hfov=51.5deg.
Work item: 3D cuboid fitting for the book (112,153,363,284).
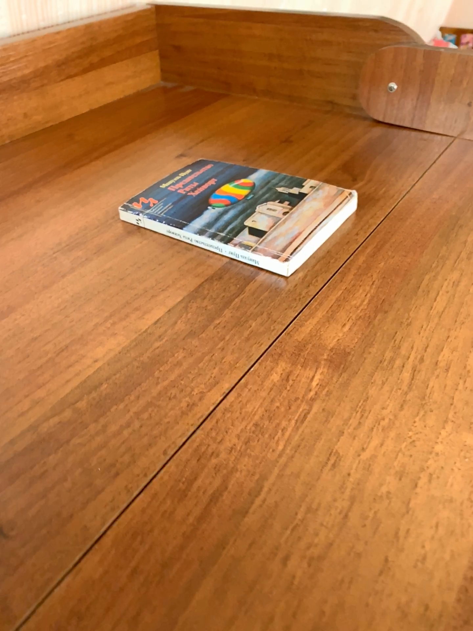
[{"bbox_3d":[0.002,-0.087,0.391,0.158,0.016,0.121,22,45,26],"label":"book"}]
